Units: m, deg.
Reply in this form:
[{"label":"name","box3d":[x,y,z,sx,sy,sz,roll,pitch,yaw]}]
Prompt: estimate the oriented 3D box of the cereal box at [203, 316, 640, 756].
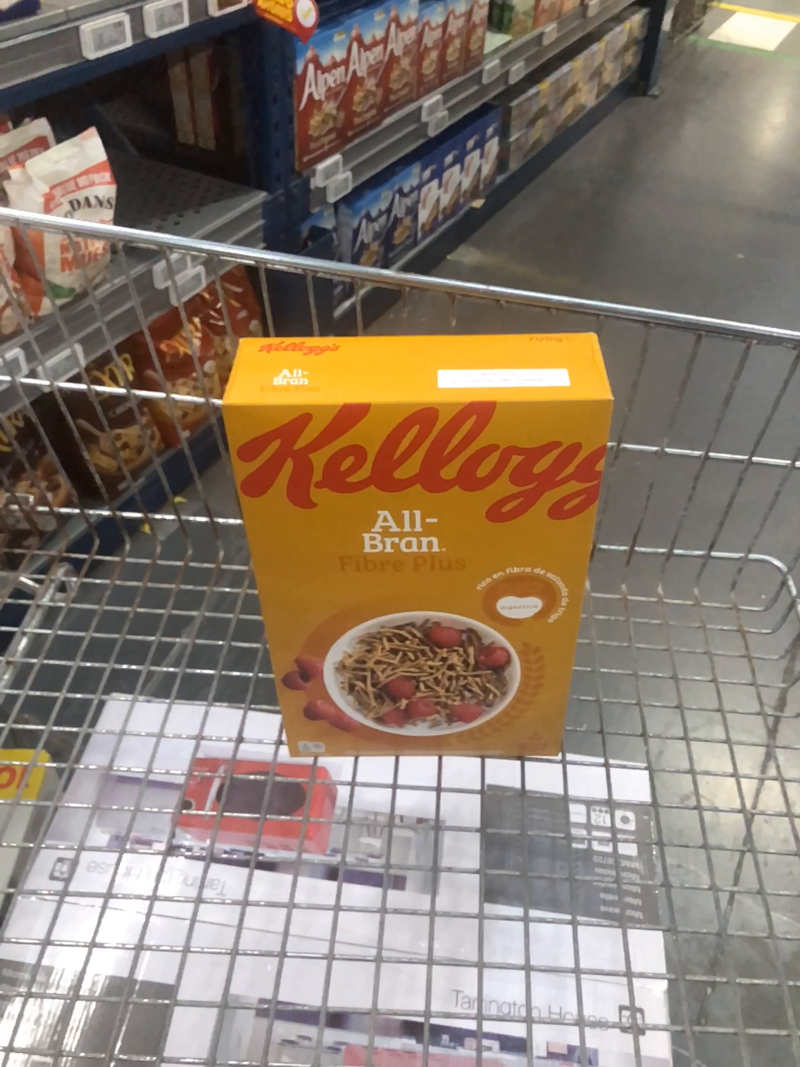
[{"label":"cereal box","box3d":[0.016,0.020,0.532,0.200,0.289,0.070,-1,43,3]}]
